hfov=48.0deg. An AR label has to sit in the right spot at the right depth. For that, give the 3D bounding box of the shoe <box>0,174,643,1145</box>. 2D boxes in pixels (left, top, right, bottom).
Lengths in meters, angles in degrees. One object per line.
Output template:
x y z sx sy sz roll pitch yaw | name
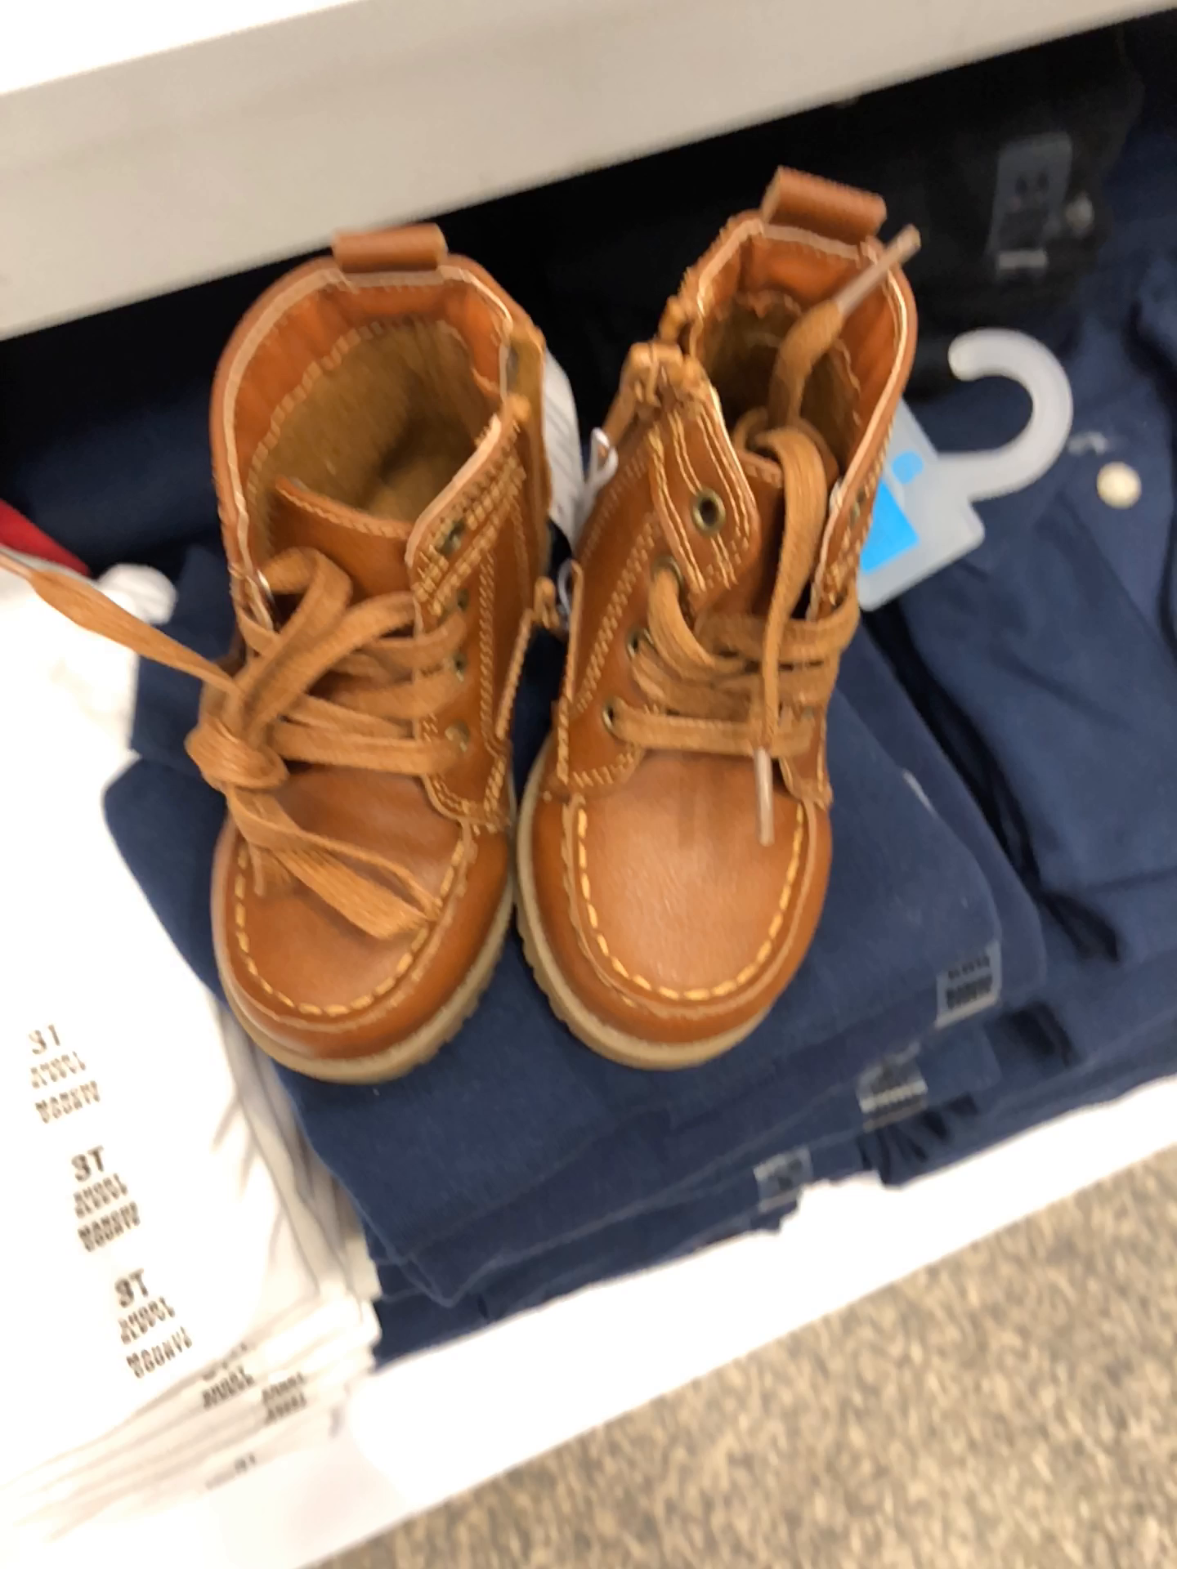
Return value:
-0.044 -0.018 0.261 0.080 0.101 0.151 10 70 7 | shoe

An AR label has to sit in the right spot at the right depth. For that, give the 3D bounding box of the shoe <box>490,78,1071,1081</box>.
0.030 -0.032 0.263 0.080 0.101 0.161 6 70 -5 | shoe
